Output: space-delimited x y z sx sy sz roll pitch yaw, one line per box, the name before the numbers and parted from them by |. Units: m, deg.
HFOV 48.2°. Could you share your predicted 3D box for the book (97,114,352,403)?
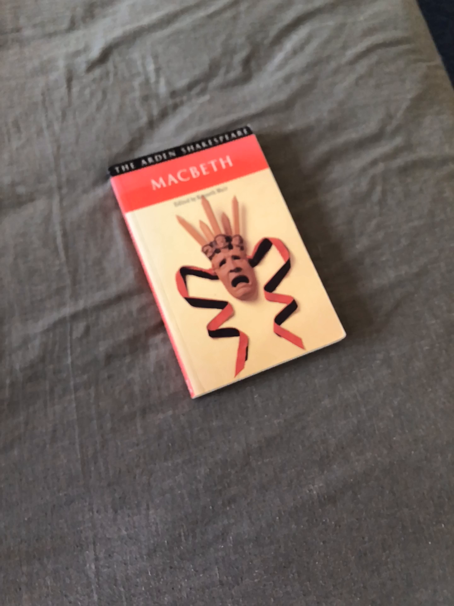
book | -0.006 -0.042 0.395 0.130 0.020 0.200 -20 76 -9
